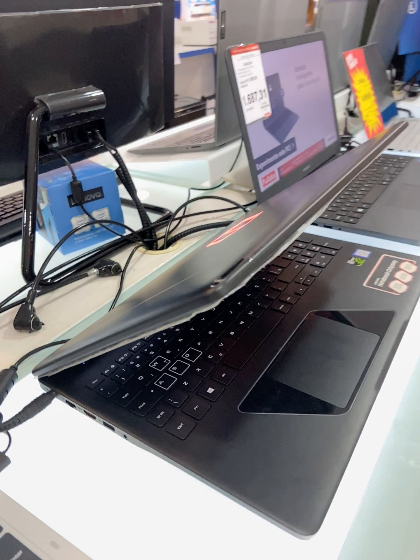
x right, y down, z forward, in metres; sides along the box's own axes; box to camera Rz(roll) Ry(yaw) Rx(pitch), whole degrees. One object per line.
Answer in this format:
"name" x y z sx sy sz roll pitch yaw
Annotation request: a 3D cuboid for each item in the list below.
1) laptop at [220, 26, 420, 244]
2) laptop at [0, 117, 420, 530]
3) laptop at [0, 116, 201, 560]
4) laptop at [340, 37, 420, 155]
"laptop" 0.258 -0.274 0.719 0.307 0.234 0.414 15 35 30
"laptop" 0.047 -0.034 0.408 0.258 0.152 0.369 16 36 31
"laptop" -0.272 0.145 0.082 0.345 0.223 0.433 17 37 29
"laptop" 0.532 -0.469 1.080 0.299 0.202 0.308 15 37 28
